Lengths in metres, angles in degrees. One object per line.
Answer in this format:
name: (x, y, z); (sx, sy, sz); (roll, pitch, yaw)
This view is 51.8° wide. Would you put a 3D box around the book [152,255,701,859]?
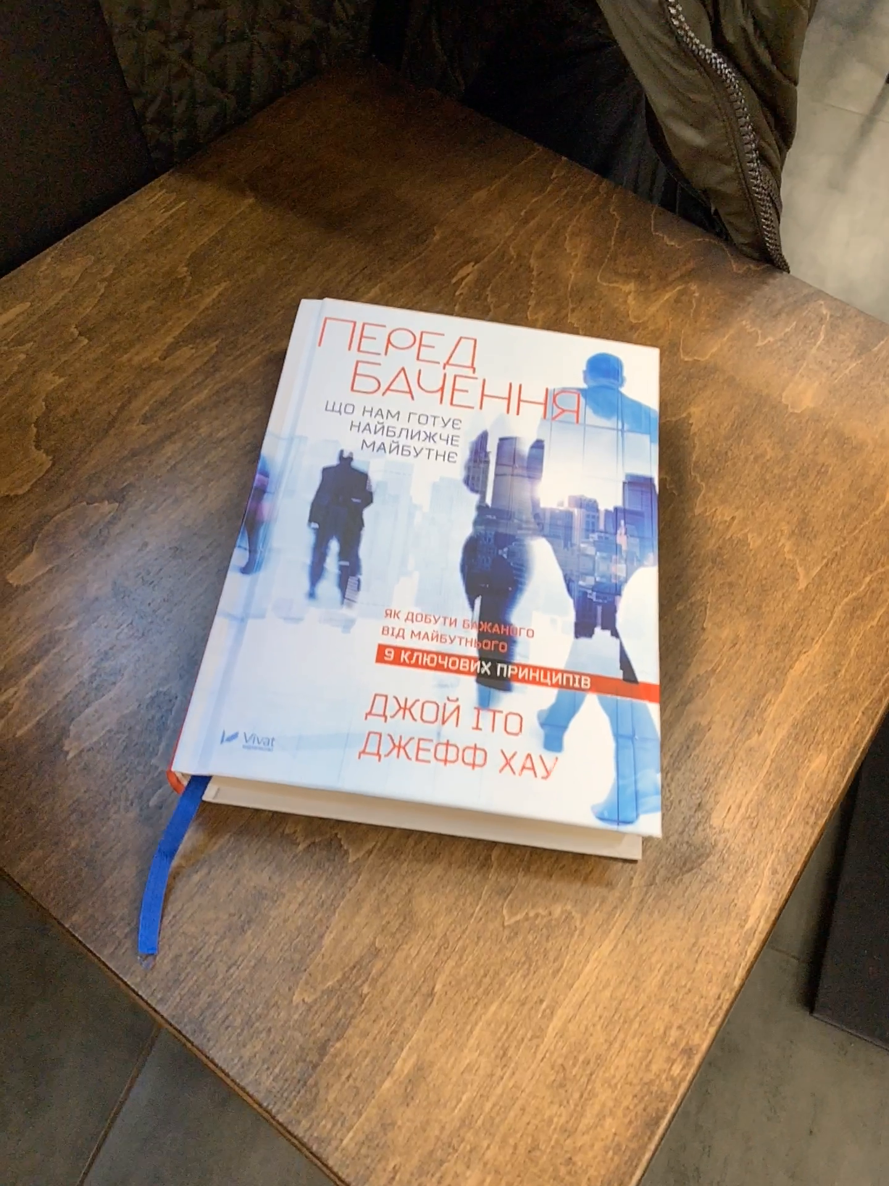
book: (0.005, -0.023, 0.312); (0.149, 0.040, 0.196); (8, 59, -1)
